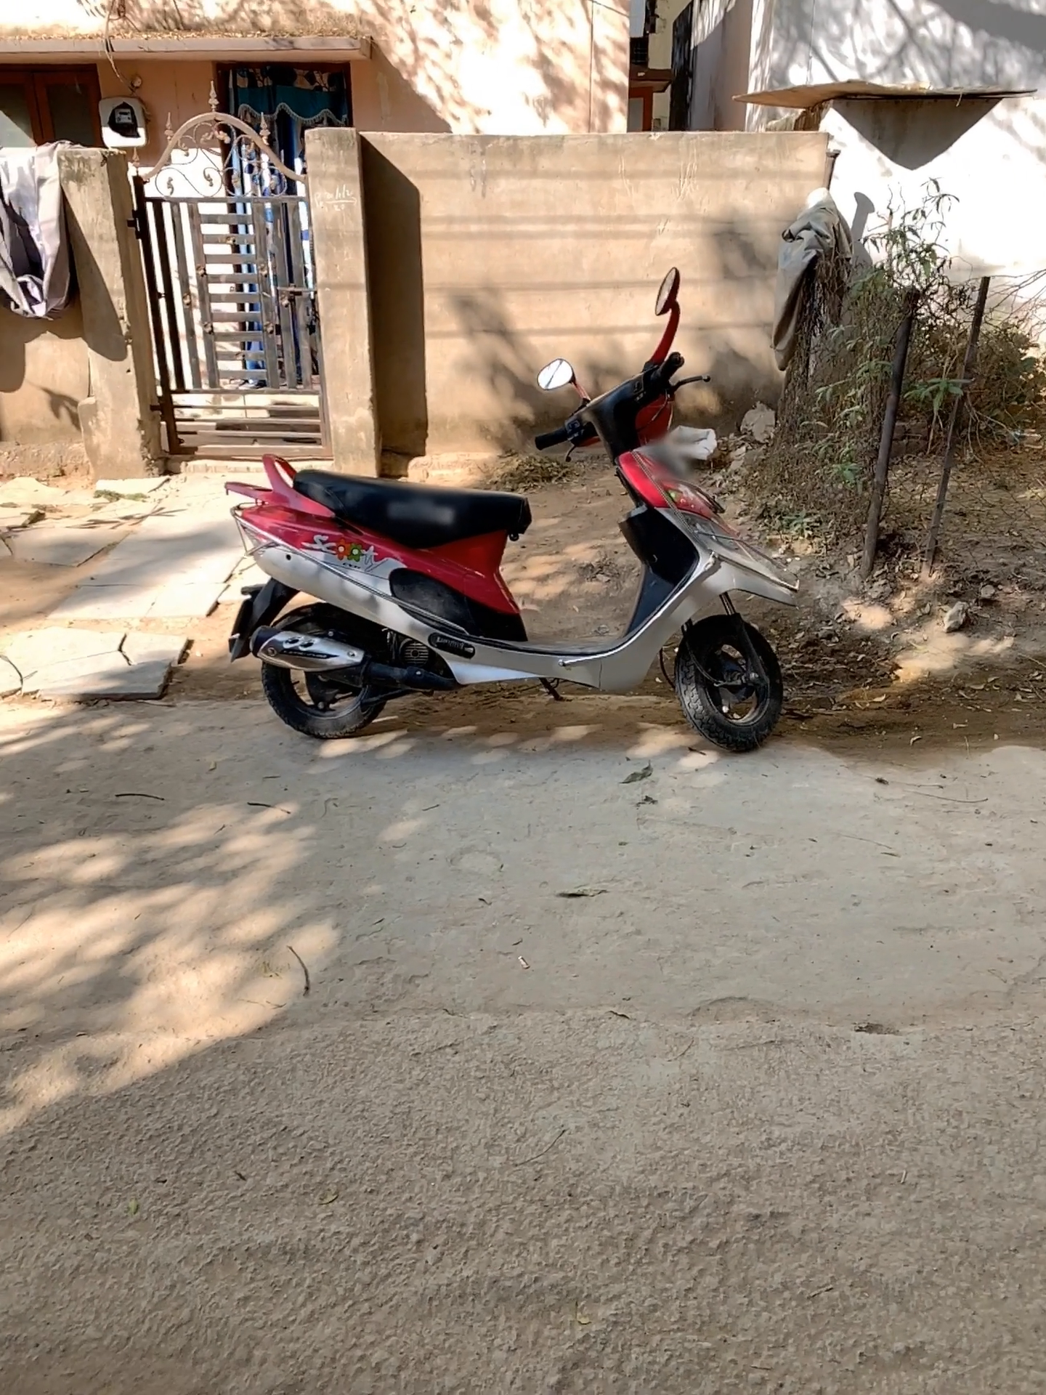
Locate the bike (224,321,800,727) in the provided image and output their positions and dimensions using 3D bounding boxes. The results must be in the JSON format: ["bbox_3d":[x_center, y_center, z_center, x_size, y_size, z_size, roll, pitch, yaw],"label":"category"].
[{"bbox_3d":[-0.002,-0.525,3.202,1.494,1.037,0.486,-2,25,0],"label":"bike"}]
